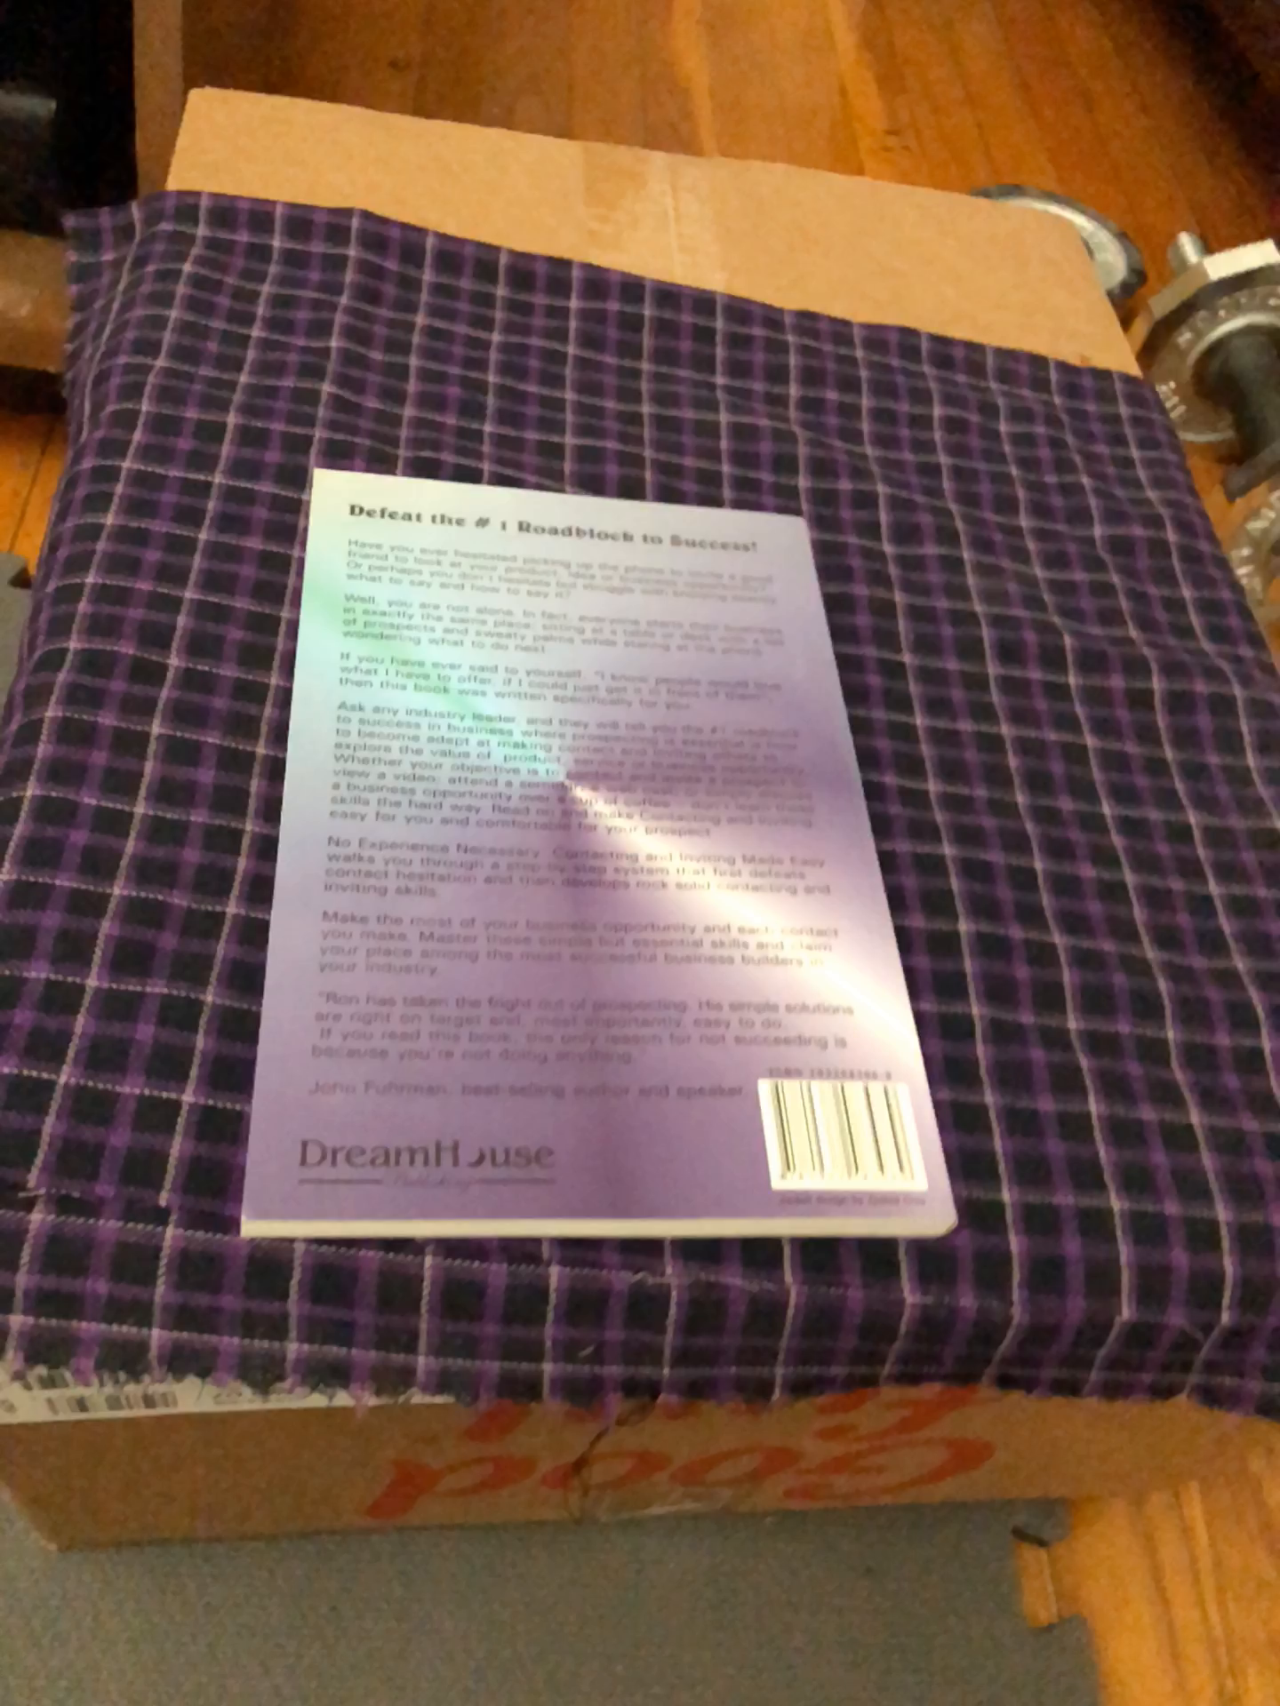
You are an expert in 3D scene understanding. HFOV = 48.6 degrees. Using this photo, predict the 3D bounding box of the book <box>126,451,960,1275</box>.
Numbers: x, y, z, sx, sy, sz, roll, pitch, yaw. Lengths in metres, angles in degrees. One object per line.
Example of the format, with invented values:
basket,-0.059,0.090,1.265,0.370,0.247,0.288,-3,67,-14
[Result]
book,-0.024,-0.011,0.343,0.160,0.020,0.221,3,53,-11
